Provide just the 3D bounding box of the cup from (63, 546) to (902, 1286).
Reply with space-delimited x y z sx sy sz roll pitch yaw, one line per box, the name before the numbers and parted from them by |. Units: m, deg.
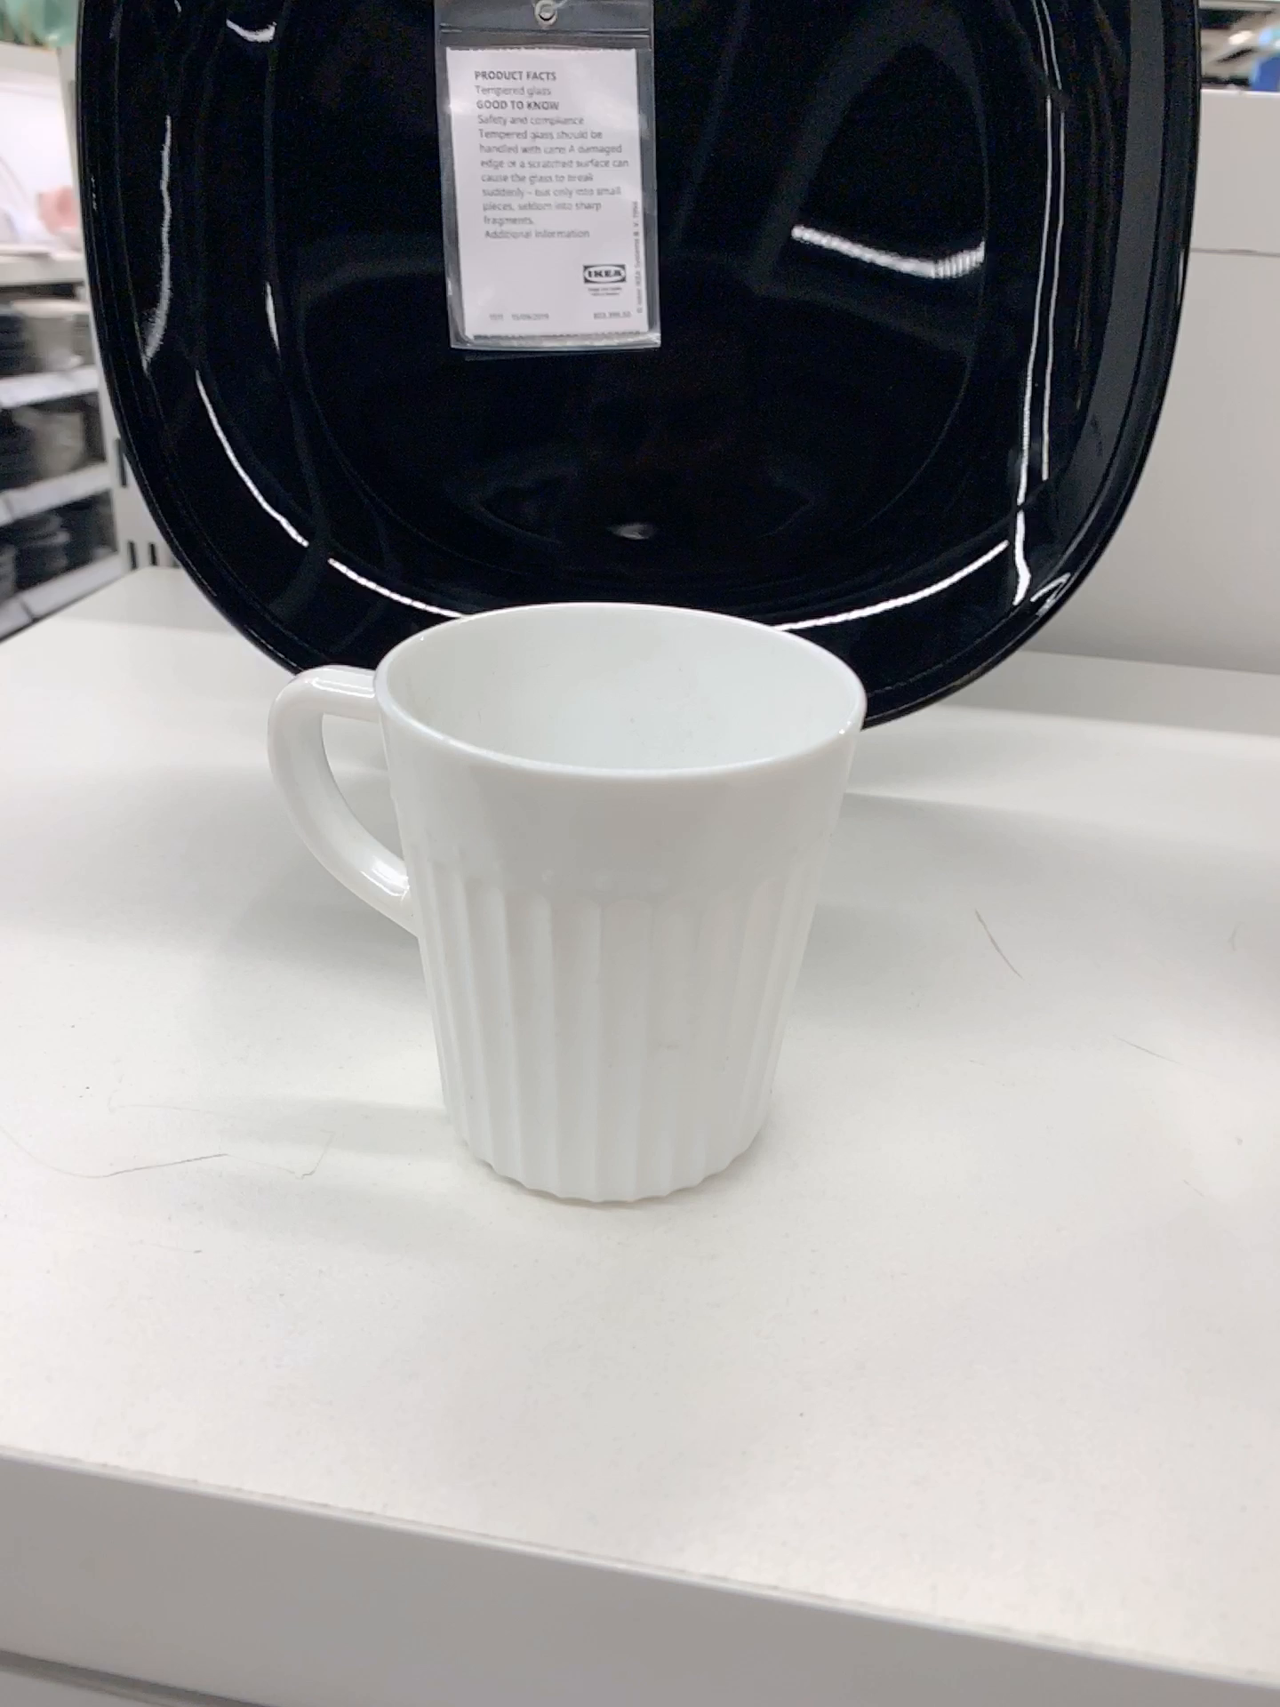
cup | -0.019 0.001 0.233 0.110 0.080 0.090 10 27 13
